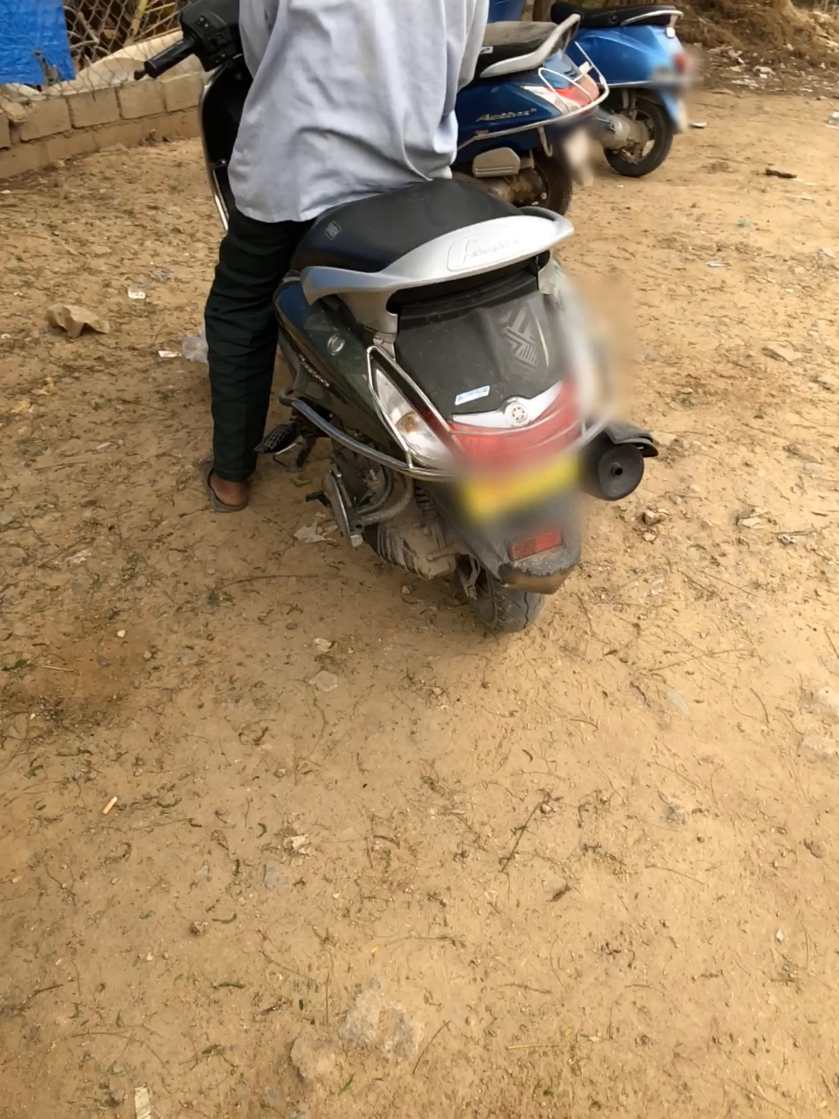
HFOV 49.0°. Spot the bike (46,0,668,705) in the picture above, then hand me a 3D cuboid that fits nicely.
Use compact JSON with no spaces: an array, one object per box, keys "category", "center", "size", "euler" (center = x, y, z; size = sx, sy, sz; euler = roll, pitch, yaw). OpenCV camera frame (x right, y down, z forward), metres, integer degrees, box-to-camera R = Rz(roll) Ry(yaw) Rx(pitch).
[{"category":"bike","center":[-0.306,-0.744,2.009],"size":[0.623,1.054,1.728],"euler":[-11,39,-18]}]
